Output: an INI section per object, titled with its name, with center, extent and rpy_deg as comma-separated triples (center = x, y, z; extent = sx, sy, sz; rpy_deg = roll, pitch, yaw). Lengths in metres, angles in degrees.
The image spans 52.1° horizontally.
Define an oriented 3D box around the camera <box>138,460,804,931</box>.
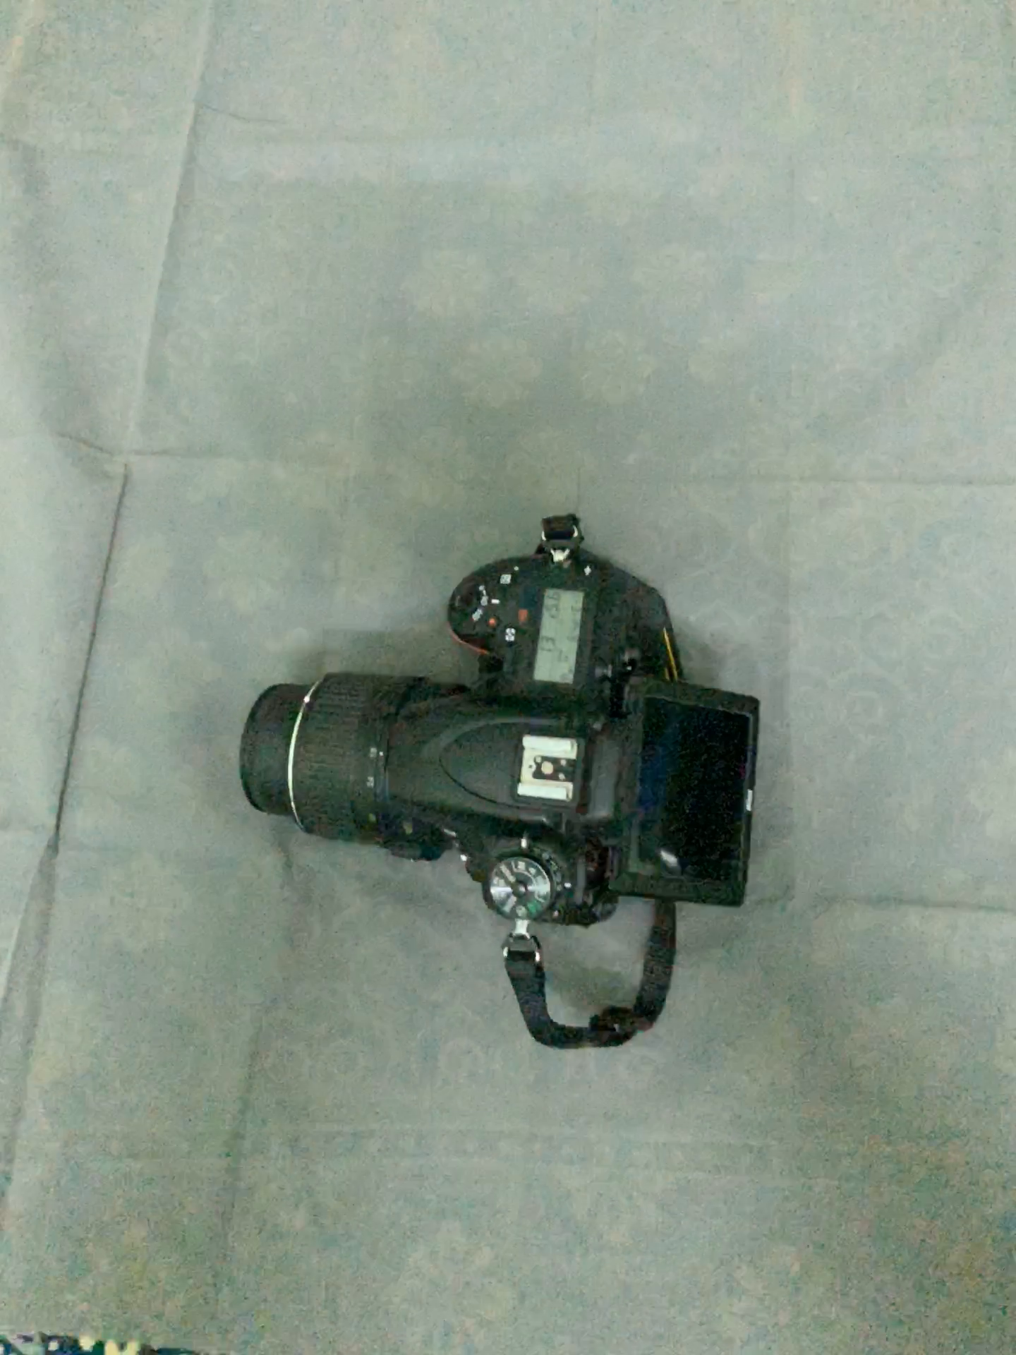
[camera]
center = -0.008, 0.011, 0.428
extent = 0.230, 0.100, 0.165
rpy_deg = 2, 74, 4
